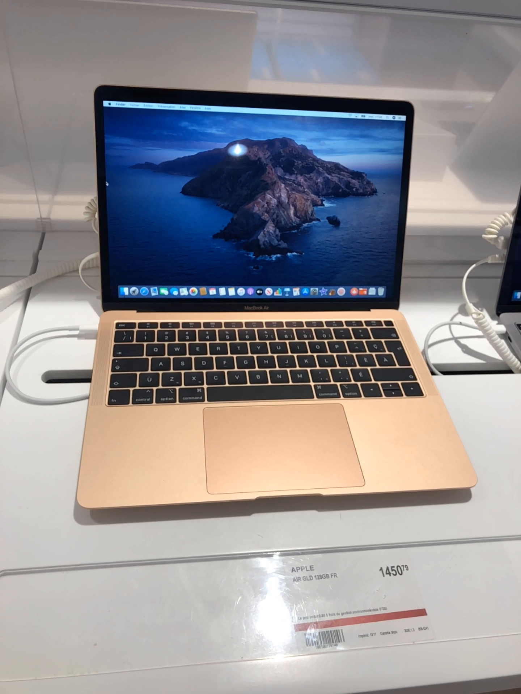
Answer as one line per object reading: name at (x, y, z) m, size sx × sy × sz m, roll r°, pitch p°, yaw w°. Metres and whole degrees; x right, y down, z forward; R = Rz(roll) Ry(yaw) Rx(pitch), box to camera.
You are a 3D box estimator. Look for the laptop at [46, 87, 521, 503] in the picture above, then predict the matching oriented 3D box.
laptop at (0.010, -0.060, 0.475) m, size 0.291 × 0.170 × 0.304 m, roll -1°, pitch 45°, yaw -9°
